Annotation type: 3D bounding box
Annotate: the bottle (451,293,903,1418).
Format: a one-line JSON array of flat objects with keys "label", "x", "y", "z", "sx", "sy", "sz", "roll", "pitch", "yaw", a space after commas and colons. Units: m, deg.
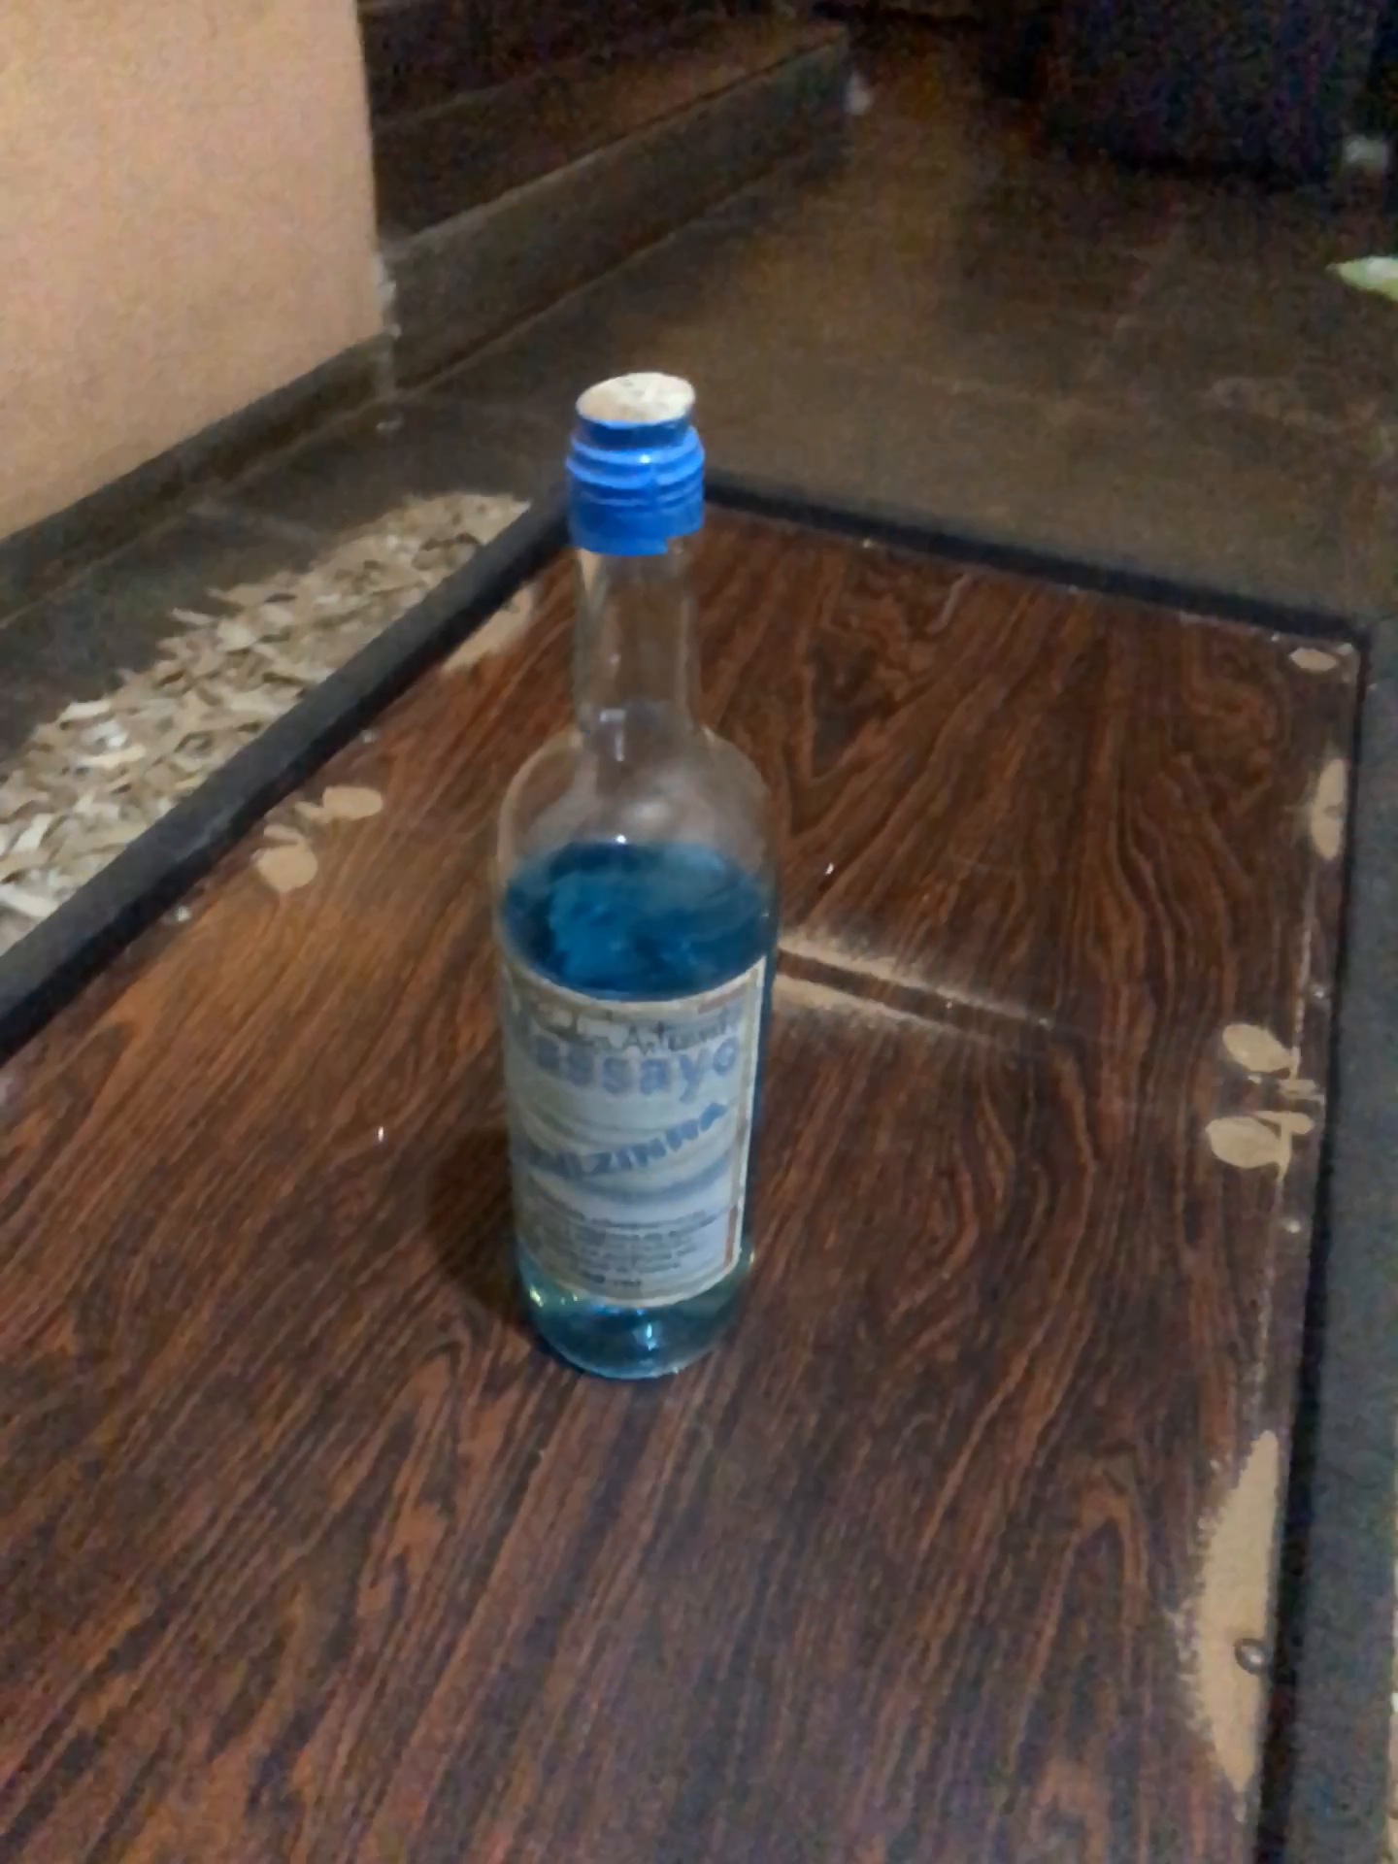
[{"label": "bottle", "x": -0.010, "y": 0.000, "z": 0.413, "sx": 0.080, "sy": 0.298, "sz": 0.081, "roll": 3, "pitch": 38, "yaw": -2}]
